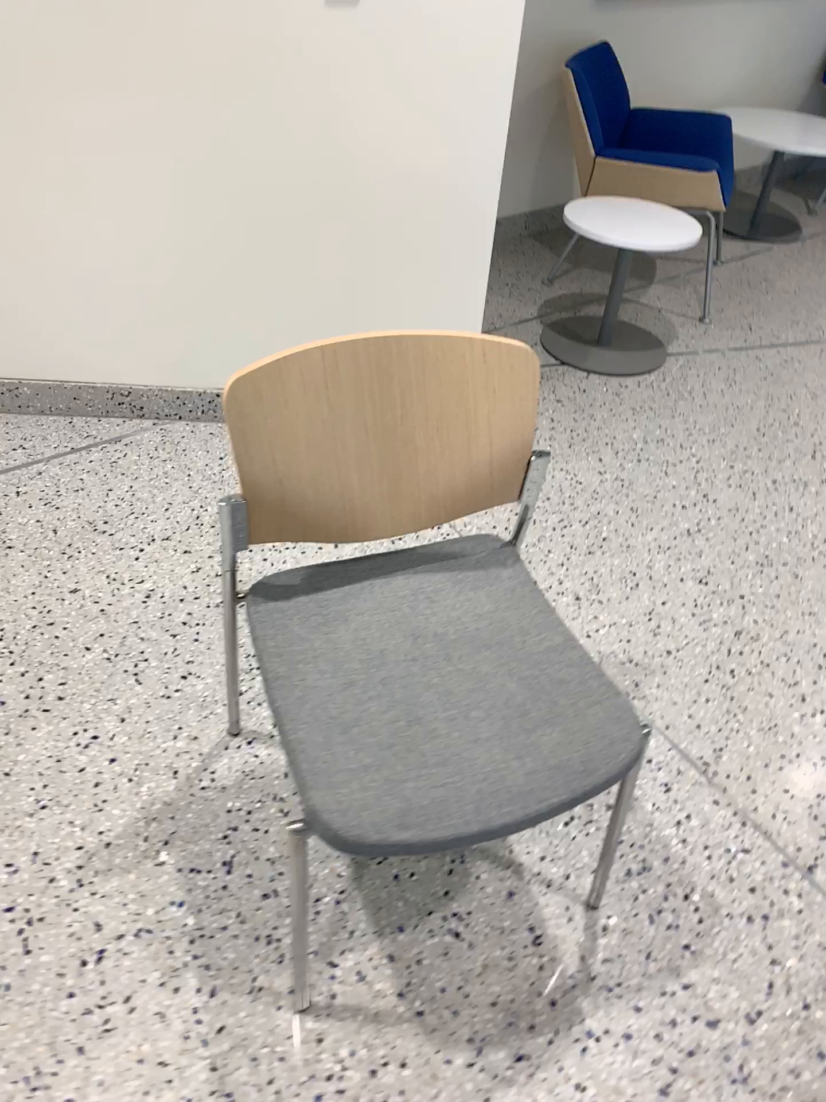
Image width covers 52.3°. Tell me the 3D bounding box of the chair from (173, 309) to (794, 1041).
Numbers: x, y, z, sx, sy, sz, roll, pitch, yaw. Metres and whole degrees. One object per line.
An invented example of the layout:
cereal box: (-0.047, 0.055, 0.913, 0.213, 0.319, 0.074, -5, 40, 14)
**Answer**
chair: (0.006, 0.158, 1.221, 0.538, 0.768, 0.596, -10, 42, -17)

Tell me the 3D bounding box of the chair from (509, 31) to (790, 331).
chair: (0.883, -1.414, 3.161, 0.762, 0.758, 0.774, 16, 41, 13)

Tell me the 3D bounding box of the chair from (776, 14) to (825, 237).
chair: (2.407, -2.143, 4.208, 0.747, 0.768, 0.819, 8, 39, 4)
